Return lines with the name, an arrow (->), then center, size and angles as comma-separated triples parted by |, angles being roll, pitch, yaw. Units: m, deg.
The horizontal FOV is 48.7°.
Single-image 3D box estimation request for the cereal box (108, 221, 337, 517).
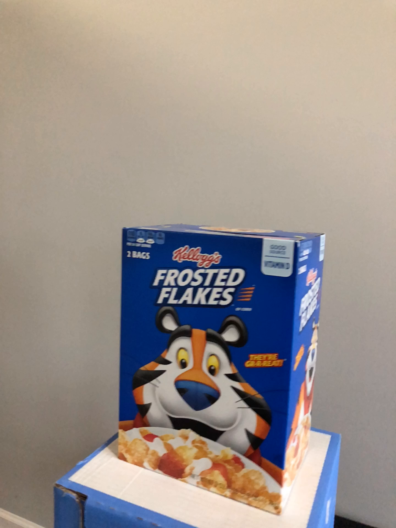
cereal box -> 0.034, 0.108, 0.613 | 0.260, 0.320, 0.170 | 6, 8, 27
